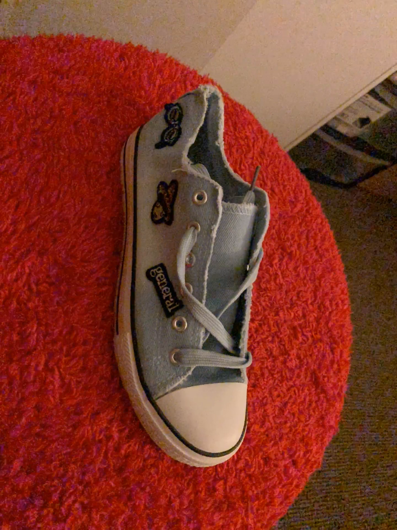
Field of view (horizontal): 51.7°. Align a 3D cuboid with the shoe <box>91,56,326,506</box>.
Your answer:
[{"bbox_3d":[-0.006,0.004,0.279,0.098,0.087,0.250,4,69,-32],"label":"shoe"}]
